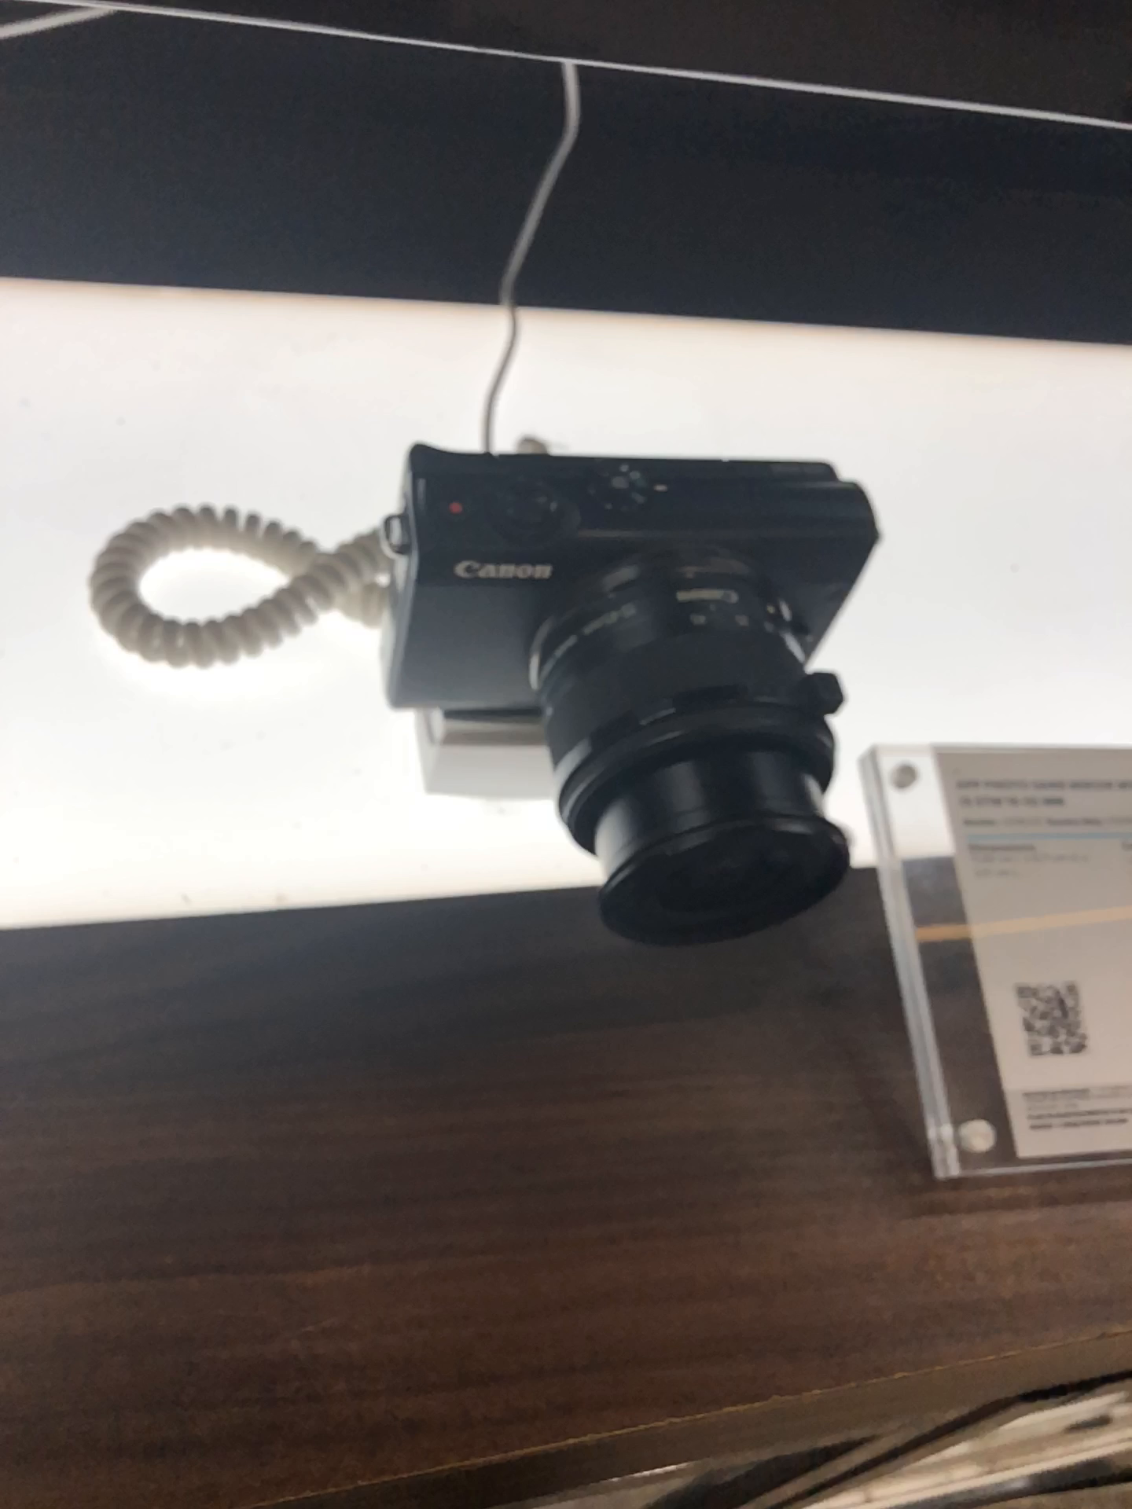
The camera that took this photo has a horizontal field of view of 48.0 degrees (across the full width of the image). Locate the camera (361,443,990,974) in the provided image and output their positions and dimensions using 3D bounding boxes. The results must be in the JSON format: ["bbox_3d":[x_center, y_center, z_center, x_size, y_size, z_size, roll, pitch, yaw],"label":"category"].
[{"bbox_3d":[0.016,-0.013,0.297,0.112,0.071,0.094,-2,52,-16],"label":"camera"}]
